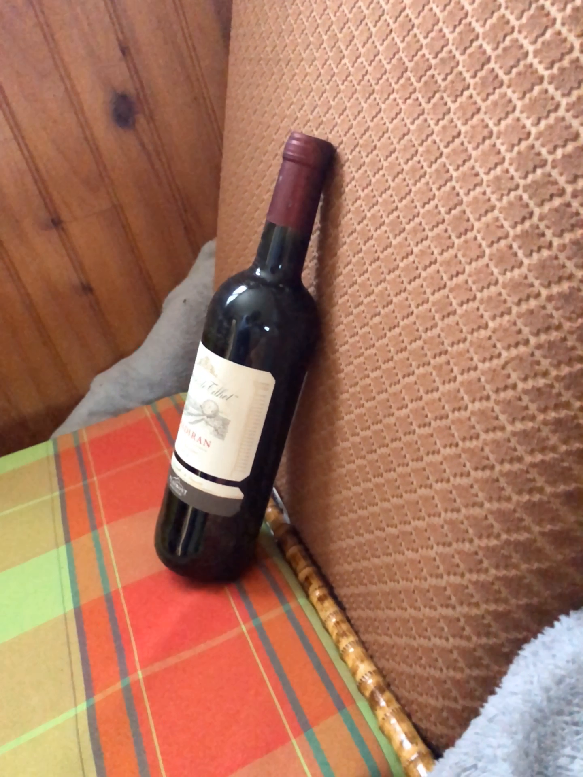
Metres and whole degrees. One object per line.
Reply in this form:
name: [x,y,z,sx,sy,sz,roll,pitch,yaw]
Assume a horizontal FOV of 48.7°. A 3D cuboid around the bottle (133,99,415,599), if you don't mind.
bottle: [-0.022,-0.018,0.424,0.090,0.299,0.080,1,22,-36]
